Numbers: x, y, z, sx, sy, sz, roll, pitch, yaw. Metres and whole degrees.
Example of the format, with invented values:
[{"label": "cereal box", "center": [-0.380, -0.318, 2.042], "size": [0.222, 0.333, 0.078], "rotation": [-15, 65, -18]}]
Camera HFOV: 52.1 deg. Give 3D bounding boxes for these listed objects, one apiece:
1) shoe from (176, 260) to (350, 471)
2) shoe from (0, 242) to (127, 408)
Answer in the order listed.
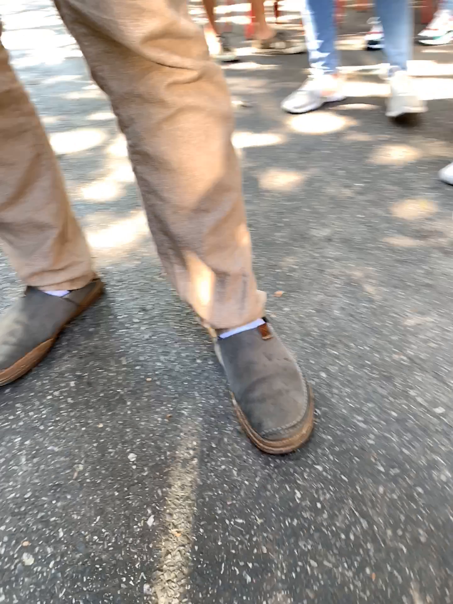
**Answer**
[{"label": "shoe", "center": [0.035, 0.067, 0.676], "size": [0.120, 0.080, 0.322], "rotation": [-17, 40, -13]}, {"label": "shoe", "center": [-0.300, 0.017, 0.765], "size": [0.120, 0.060, 0.321], "rotation": [9, 41, 18]}]
